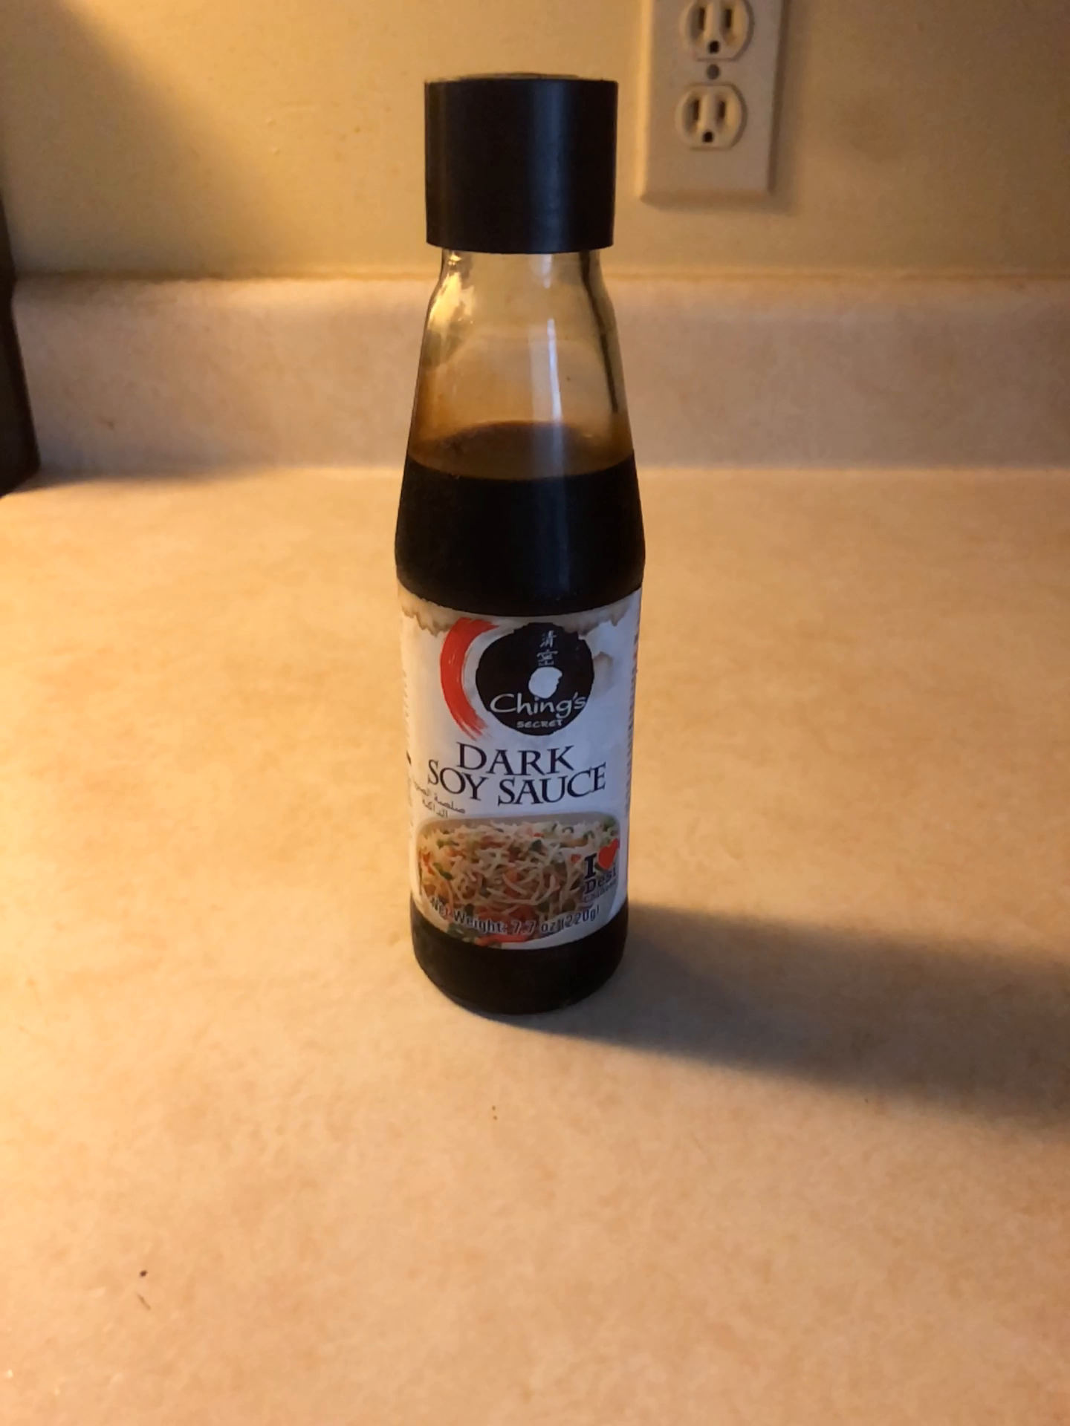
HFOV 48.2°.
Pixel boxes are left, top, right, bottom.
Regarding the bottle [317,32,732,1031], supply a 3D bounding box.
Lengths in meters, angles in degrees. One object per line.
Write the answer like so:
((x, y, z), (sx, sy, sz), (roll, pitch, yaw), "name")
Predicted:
((-0.004, -0.030, 0.238), (0.060, 0.179, 0.060), (0, 26, 0), "bottle")
